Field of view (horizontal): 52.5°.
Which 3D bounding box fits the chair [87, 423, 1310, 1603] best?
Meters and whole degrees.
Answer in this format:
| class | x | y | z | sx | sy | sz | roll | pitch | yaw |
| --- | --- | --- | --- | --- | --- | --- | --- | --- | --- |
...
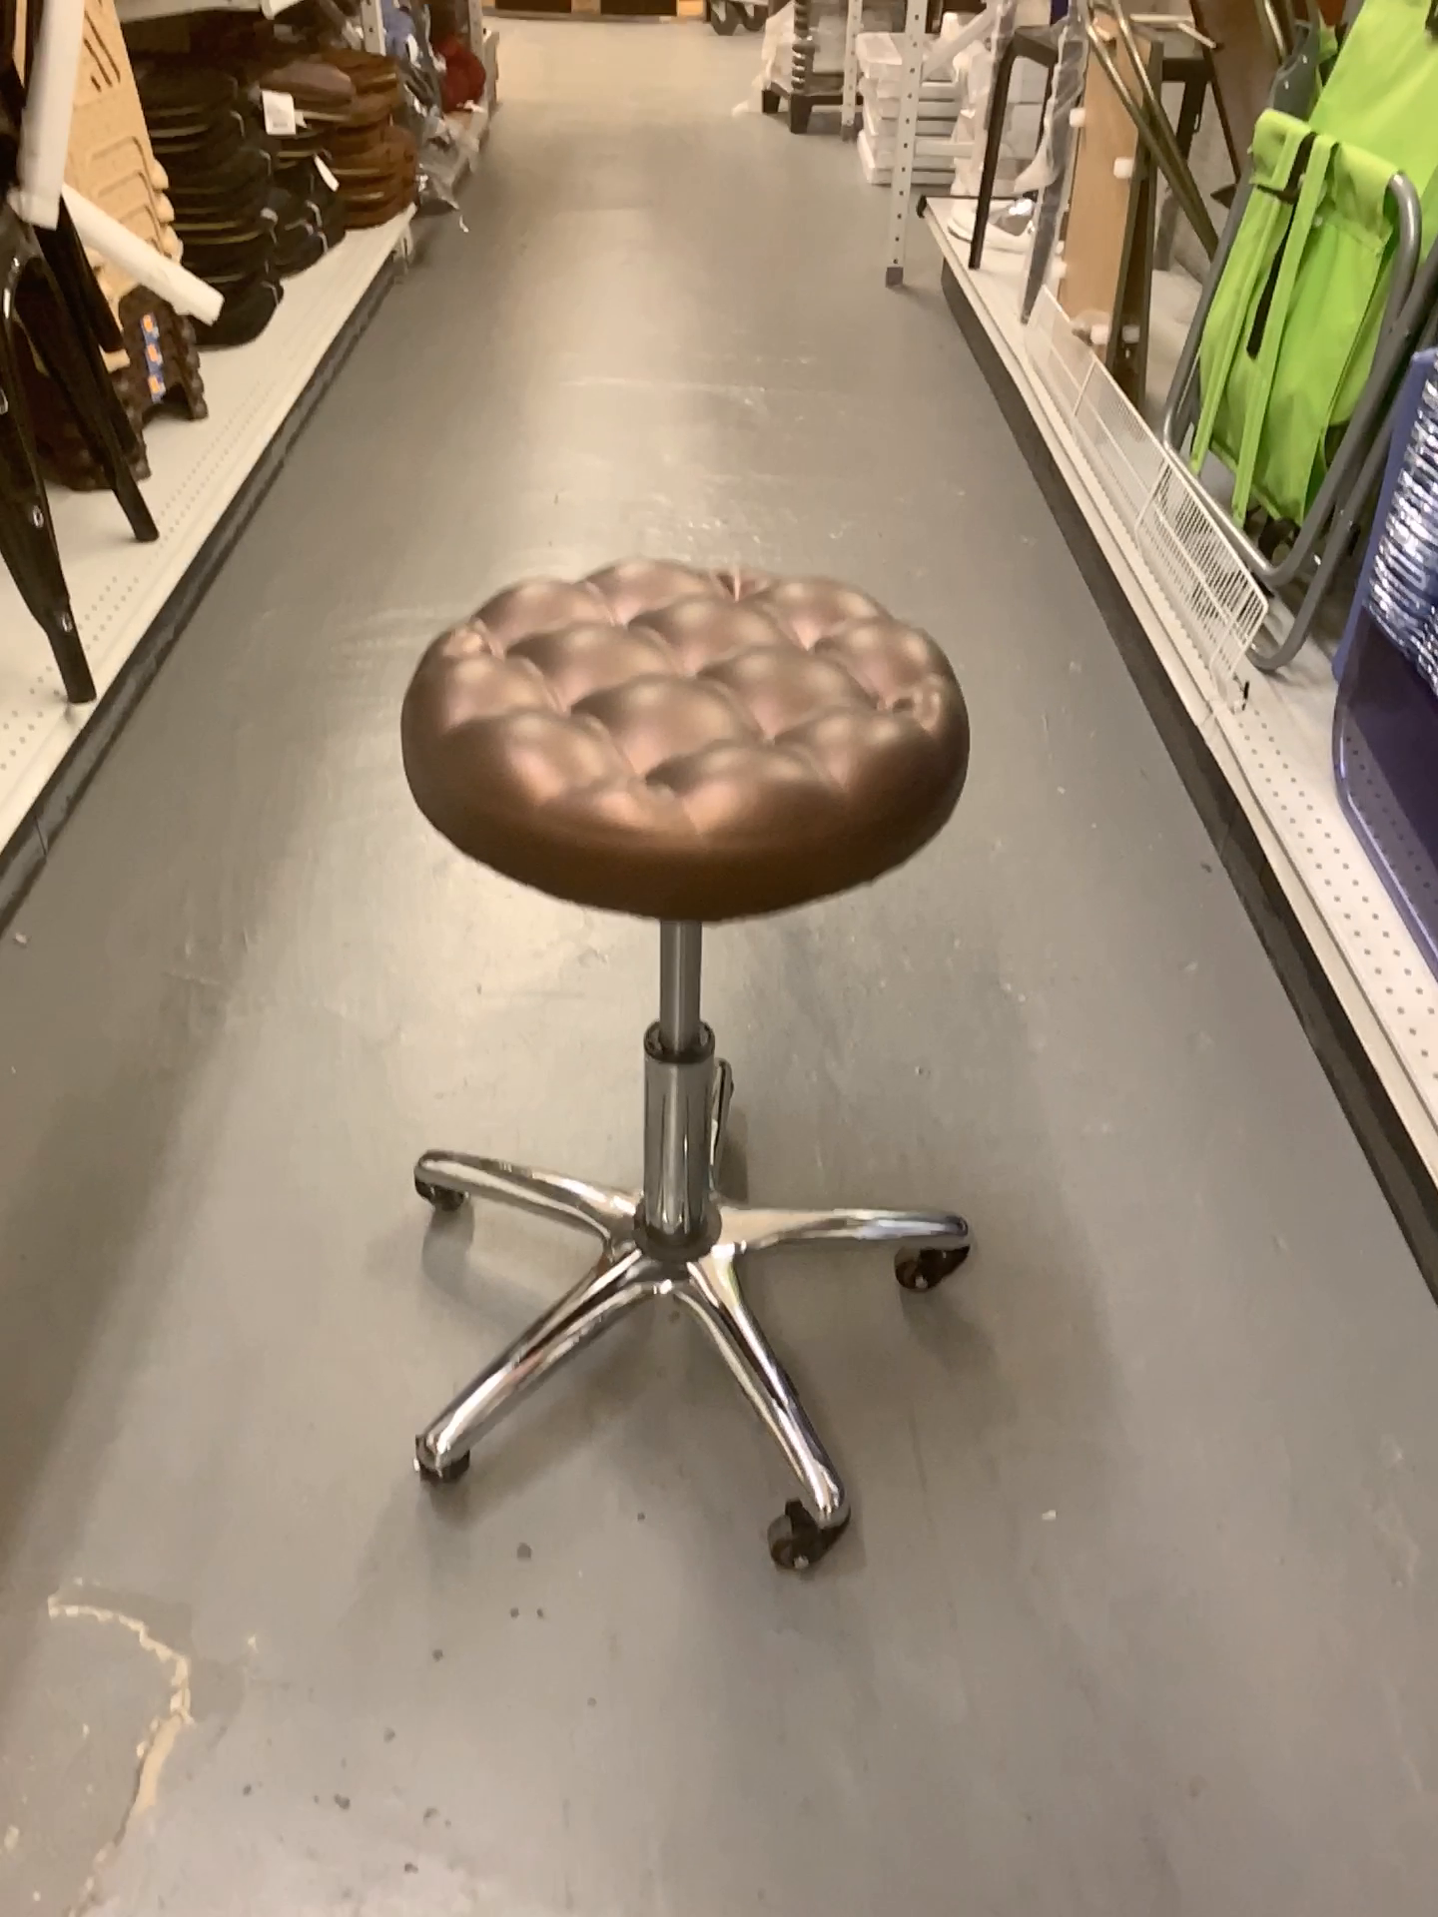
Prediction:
| class | x | y | z | sx | sy | sz | roll | pitch | yaw |
| --- | --- | --- | --- | --- | --- | --- | --- | --- | --- |
| chair | -0.012 | 0.028 | 0.976 | 0.501 | 0.574 | 0.514 | 2 | 38 | 0 |
